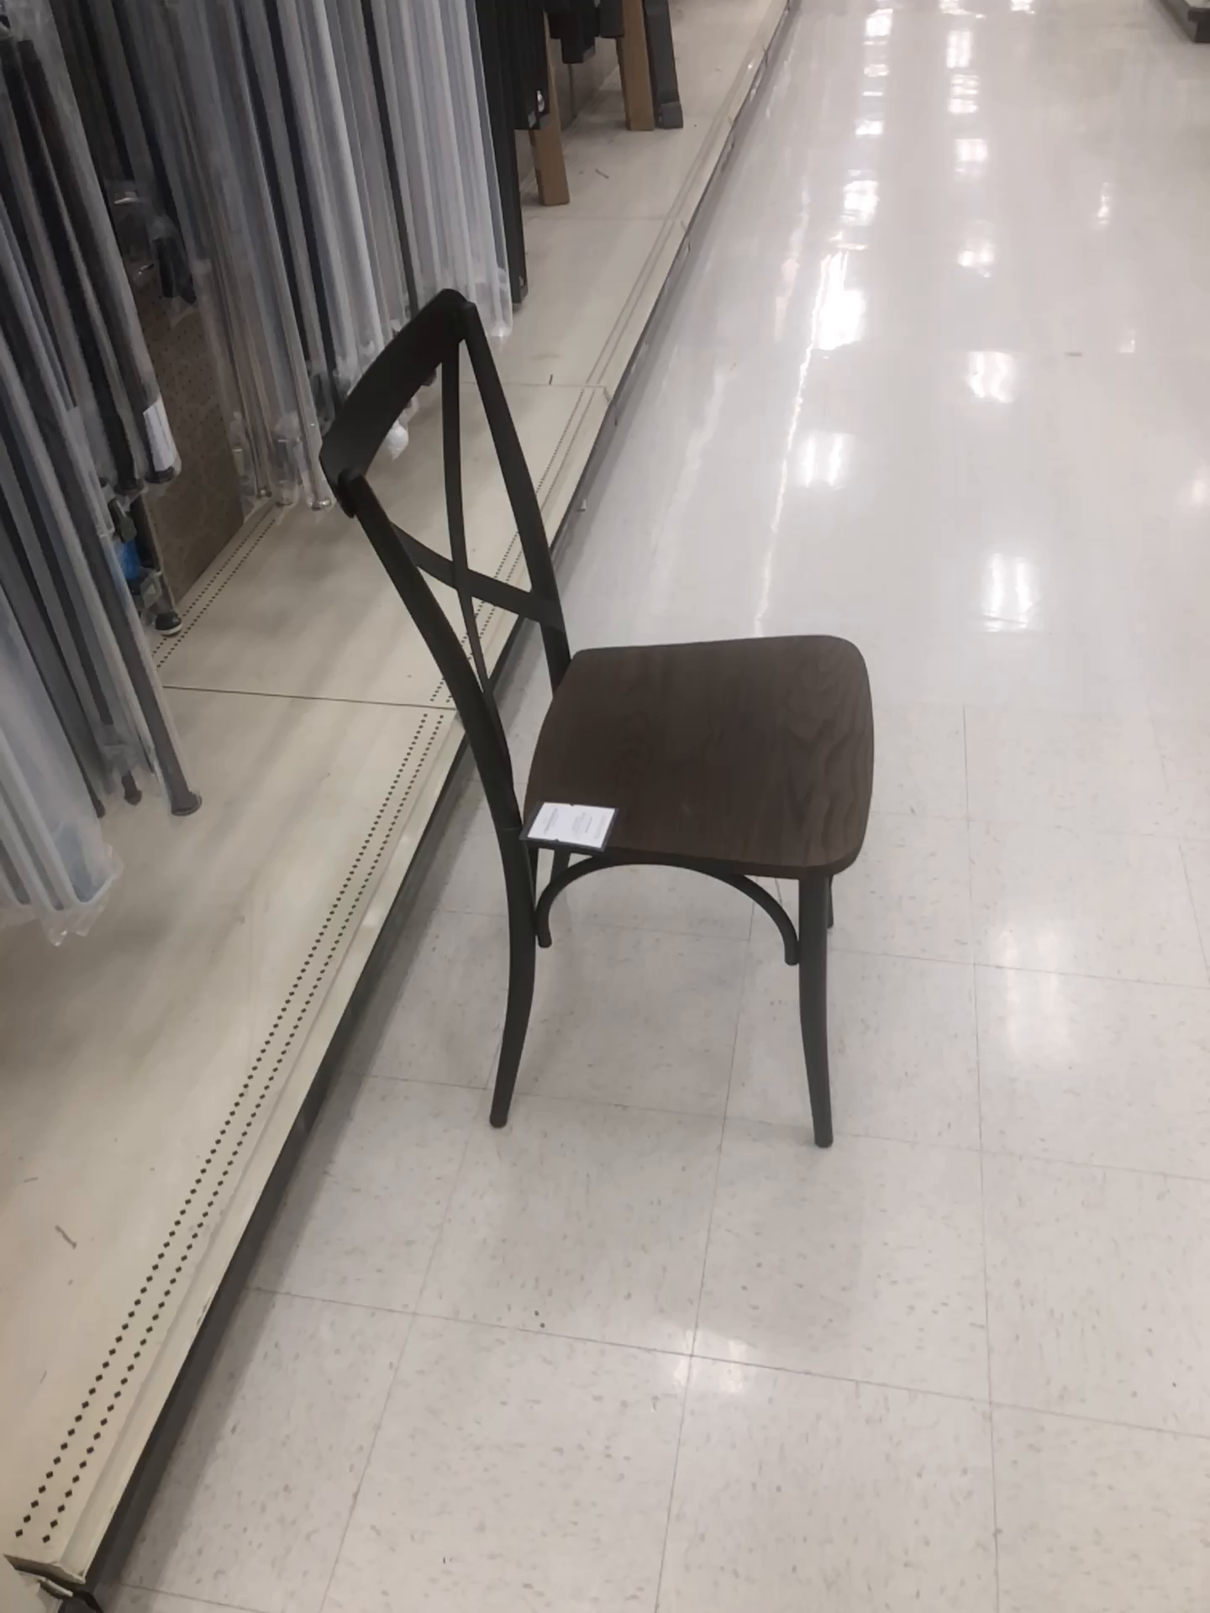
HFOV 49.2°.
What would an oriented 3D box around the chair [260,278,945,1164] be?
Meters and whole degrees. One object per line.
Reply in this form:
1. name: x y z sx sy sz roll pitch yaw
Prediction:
1. chair: 0.042 -0.081 1.440 0.525 0.811 0.478 3 40 8
